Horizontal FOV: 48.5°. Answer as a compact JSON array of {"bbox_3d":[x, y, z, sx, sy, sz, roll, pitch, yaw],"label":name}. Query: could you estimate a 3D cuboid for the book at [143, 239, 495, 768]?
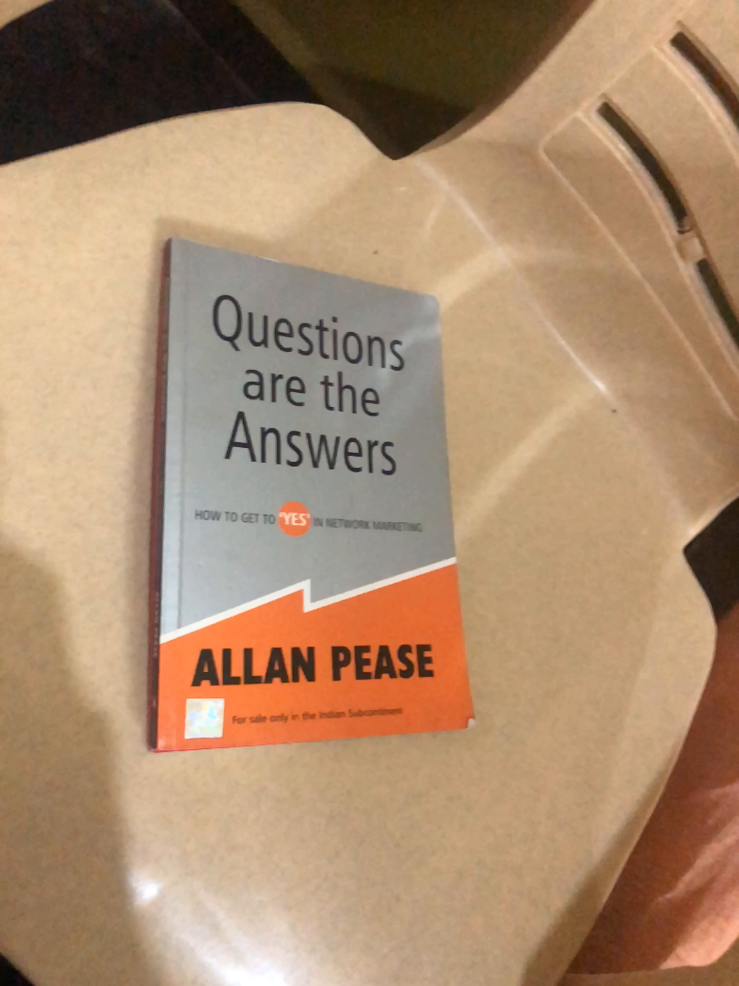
[{"bbox_3d":[-0.019,0.004,0.362,0.150,0.020,0.210,4,77,-26],"label":"book"}]
